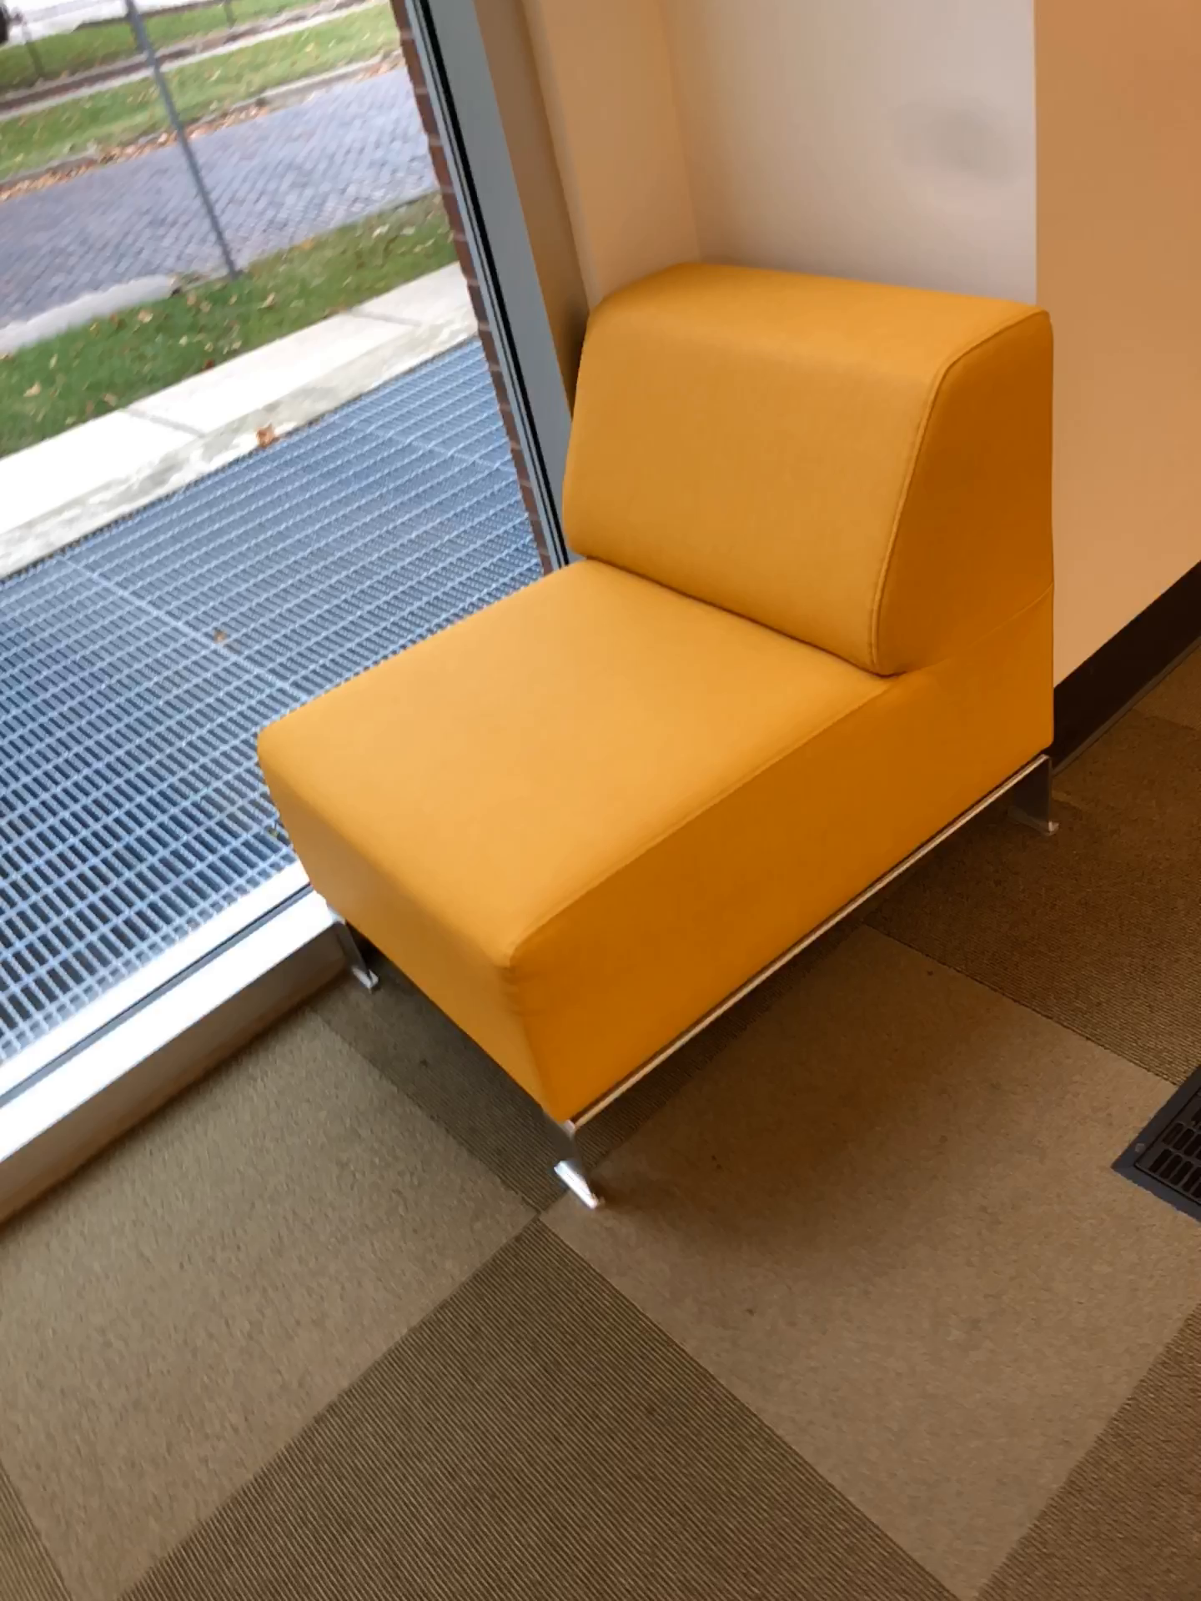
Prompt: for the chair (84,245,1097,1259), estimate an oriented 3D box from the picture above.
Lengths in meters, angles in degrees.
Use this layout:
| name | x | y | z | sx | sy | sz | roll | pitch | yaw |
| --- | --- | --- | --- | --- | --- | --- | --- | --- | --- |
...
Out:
| name | x | y | z | sx | sy | sz | roll | pitch | yaw |
| --- | --- | --- | --- | --- | --- | --- | --- | --- | --- |
| chair | 0.049 | -0.138 | 1.694 | 0.946 | 0.751 | 0.675 | -34 | 40 | -23 |
